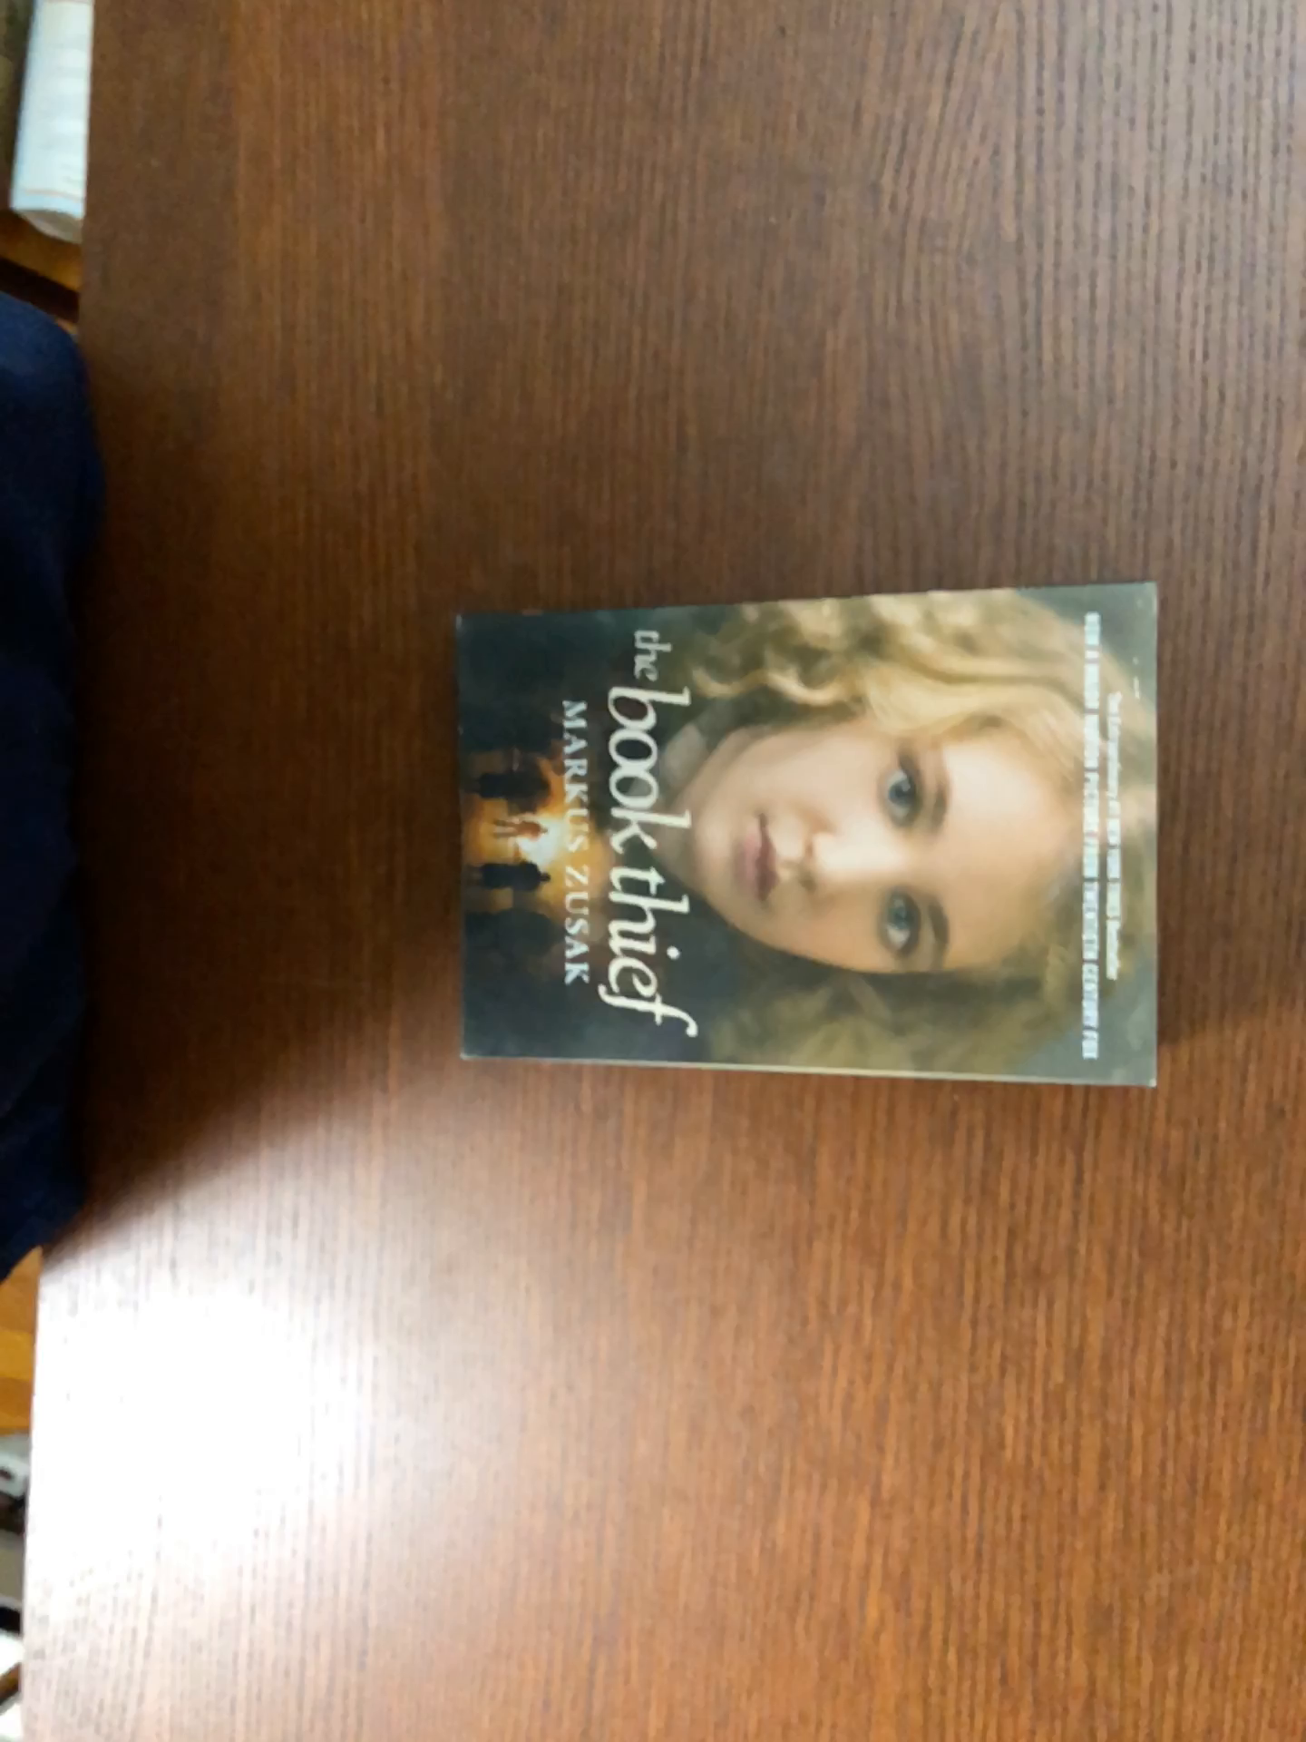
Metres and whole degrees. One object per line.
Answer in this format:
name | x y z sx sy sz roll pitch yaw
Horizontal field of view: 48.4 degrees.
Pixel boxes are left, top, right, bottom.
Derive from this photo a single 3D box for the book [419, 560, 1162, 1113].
book | 0.036 -0.011 0.440 0.220 0.030 0.150 1 92 17
